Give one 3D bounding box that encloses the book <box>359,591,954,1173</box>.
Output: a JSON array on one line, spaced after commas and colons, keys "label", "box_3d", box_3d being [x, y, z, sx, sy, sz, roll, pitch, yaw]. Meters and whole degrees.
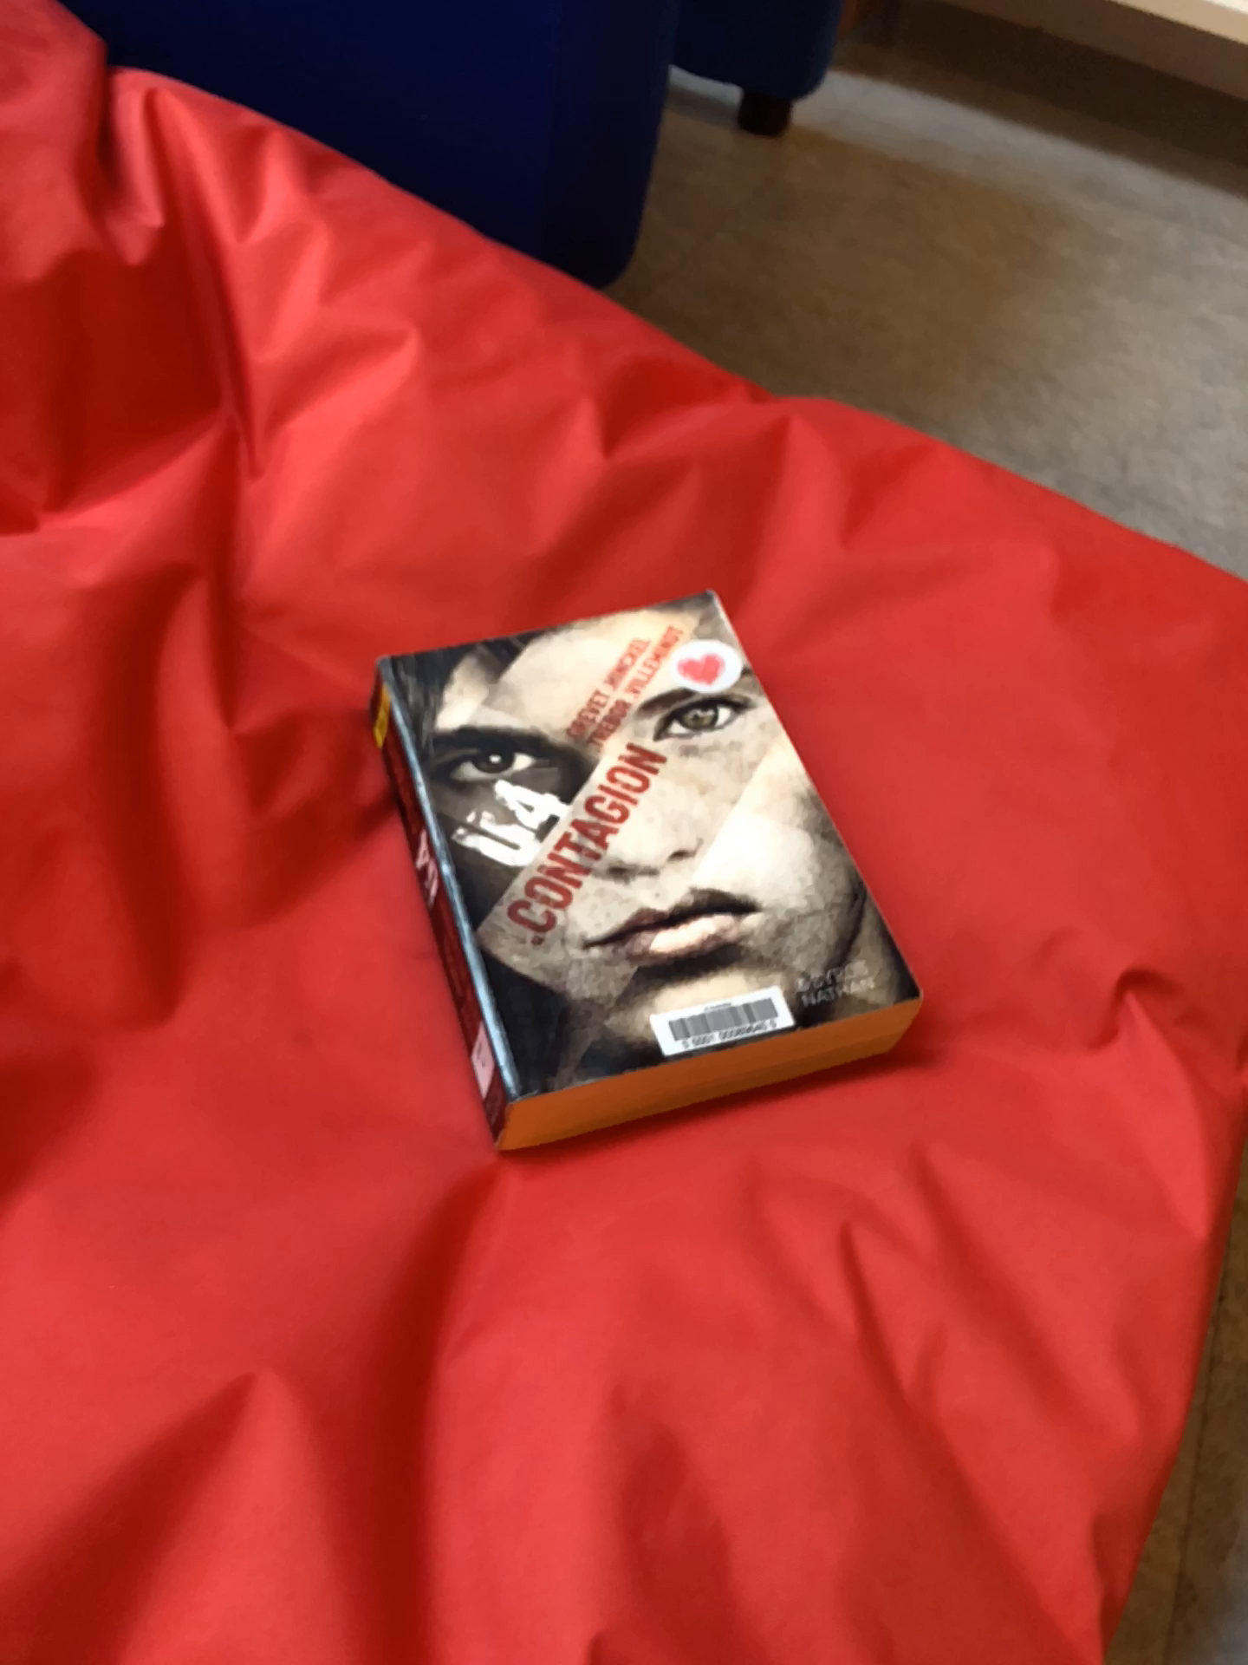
[{"label": "book", "box_3d": [0.001, 0.004, 0.549, 0.166, 0.038, 0.225, -13, 51, -13]}]
